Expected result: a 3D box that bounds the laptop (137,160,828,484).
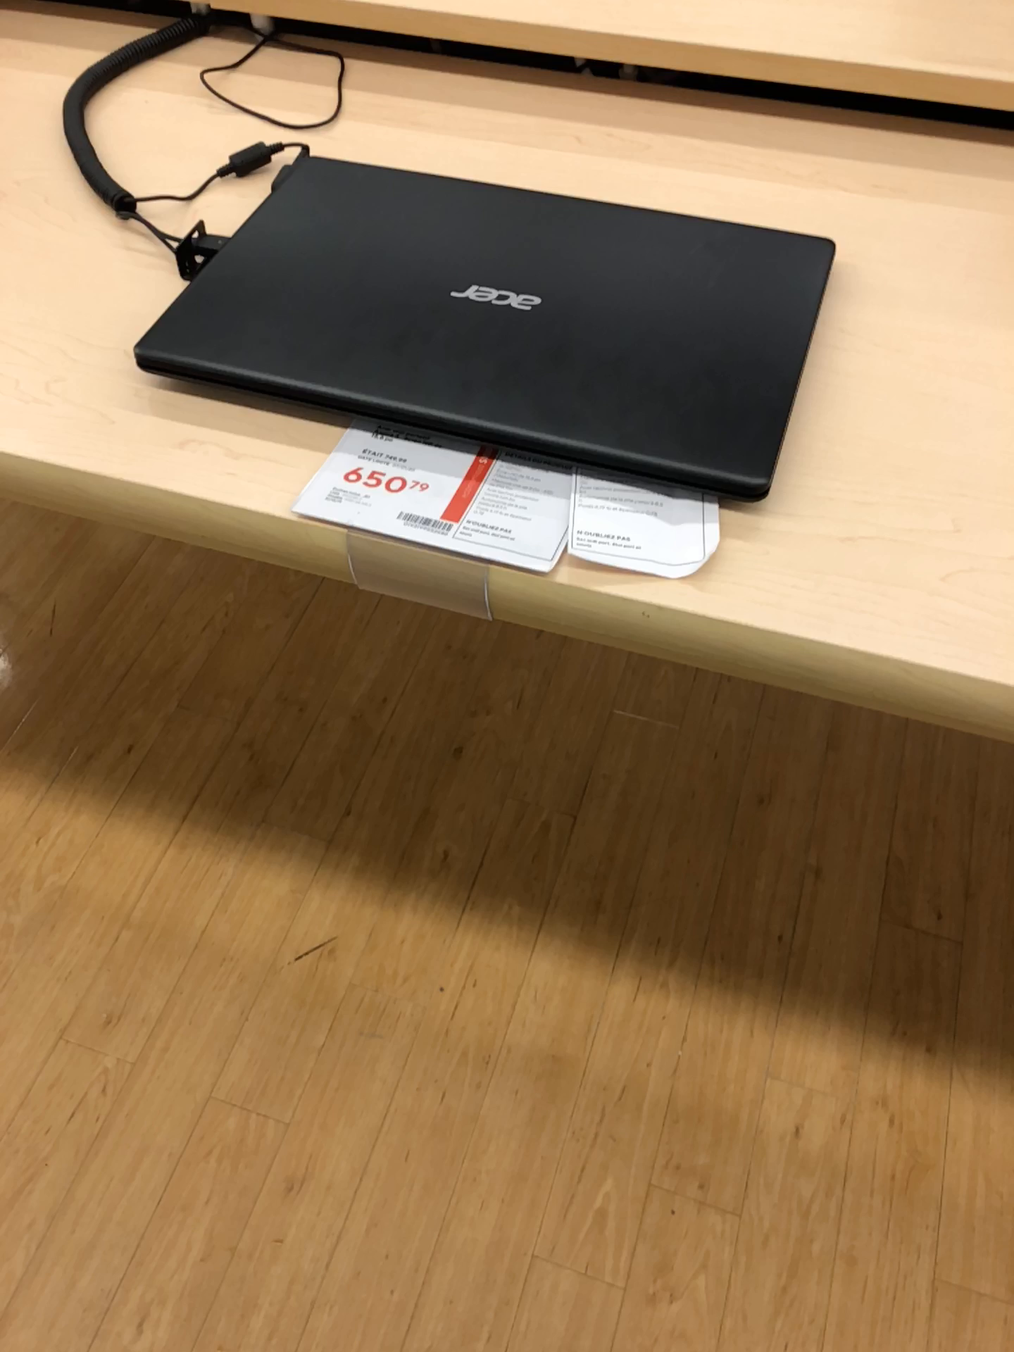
[{"bbox_3d":[-0.005,-0.219,0.648,0.347,0.003,0.213,14,55,10],"label":"laptop"}]
